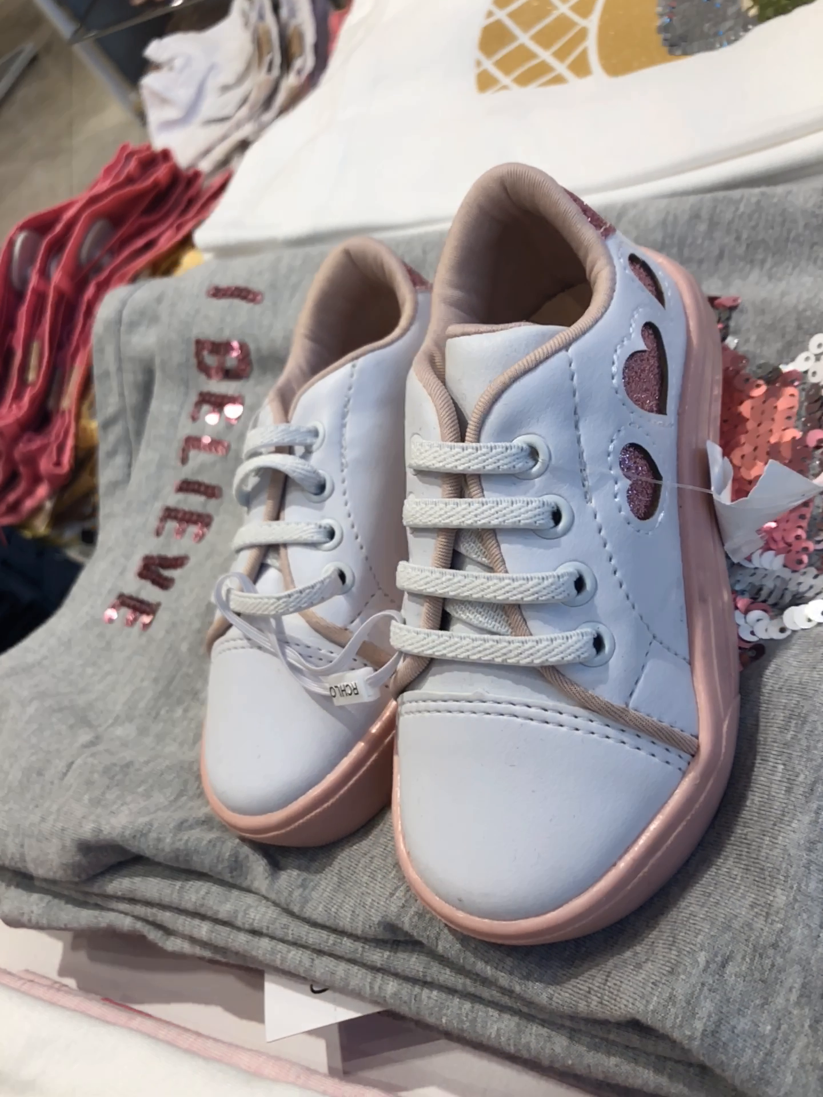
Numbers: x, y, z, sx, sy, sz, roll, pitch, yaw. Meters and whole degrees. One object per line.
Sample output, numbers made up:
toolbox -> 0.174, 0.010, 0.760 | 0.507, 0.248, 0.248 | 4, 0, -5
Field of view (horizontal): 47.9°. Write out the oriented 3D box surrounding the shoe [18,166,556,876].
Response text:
shoe -> -0.023, -0.006, 0.234 | 0.070, 0.070, 0.150 | 5, 72, 32

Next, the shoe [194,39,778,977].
shoe -> 0.026, -0.006, 0.181 | 0.070, 0.070, 0.150 | -1, 66, 30
